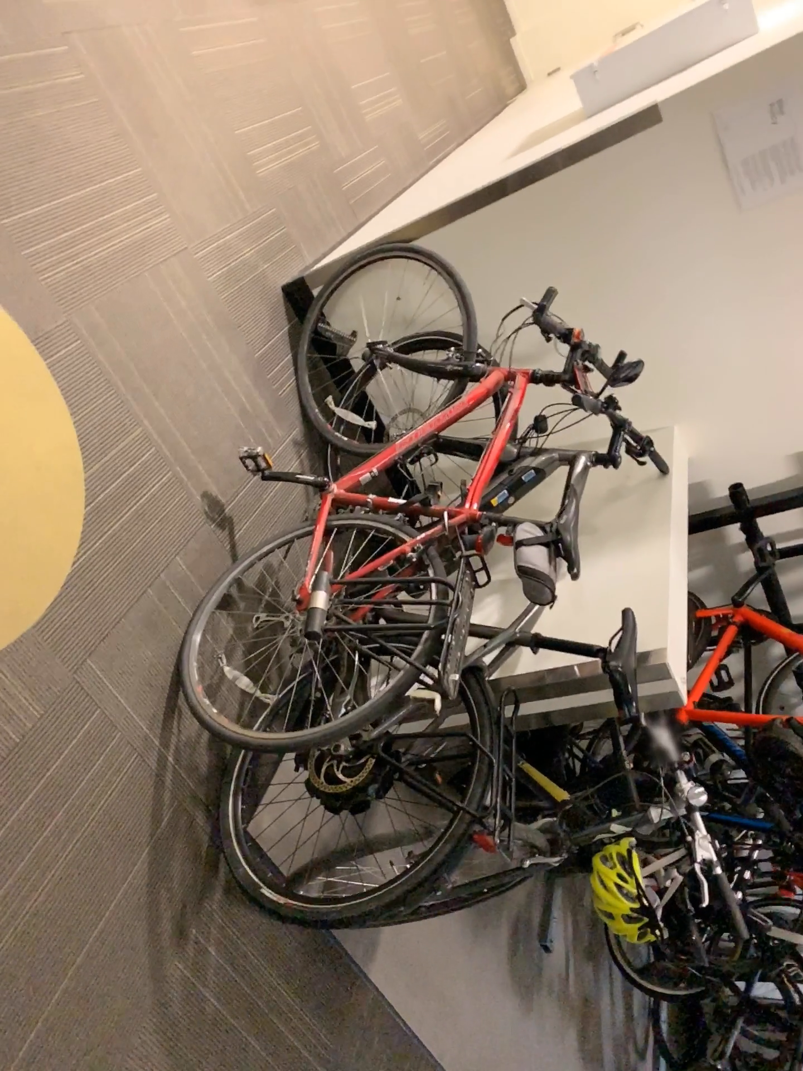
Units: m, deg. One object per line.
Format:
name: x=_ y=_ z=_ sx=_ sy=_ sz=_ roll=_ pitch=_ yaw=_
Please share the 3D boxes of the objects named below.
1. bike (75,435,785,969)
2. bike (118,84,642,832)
bike: x=0.102 y=0.486 z=1.829 sx=0.695 sy=1.148 sz=0.727 roll=46 pitch=44 yaw=-41
bike: x=0.065 y=-0.207 z=2.144 sx=0.605 sy=0.927 sz=1.614 roll=45 pitch=44 yaw=-42
